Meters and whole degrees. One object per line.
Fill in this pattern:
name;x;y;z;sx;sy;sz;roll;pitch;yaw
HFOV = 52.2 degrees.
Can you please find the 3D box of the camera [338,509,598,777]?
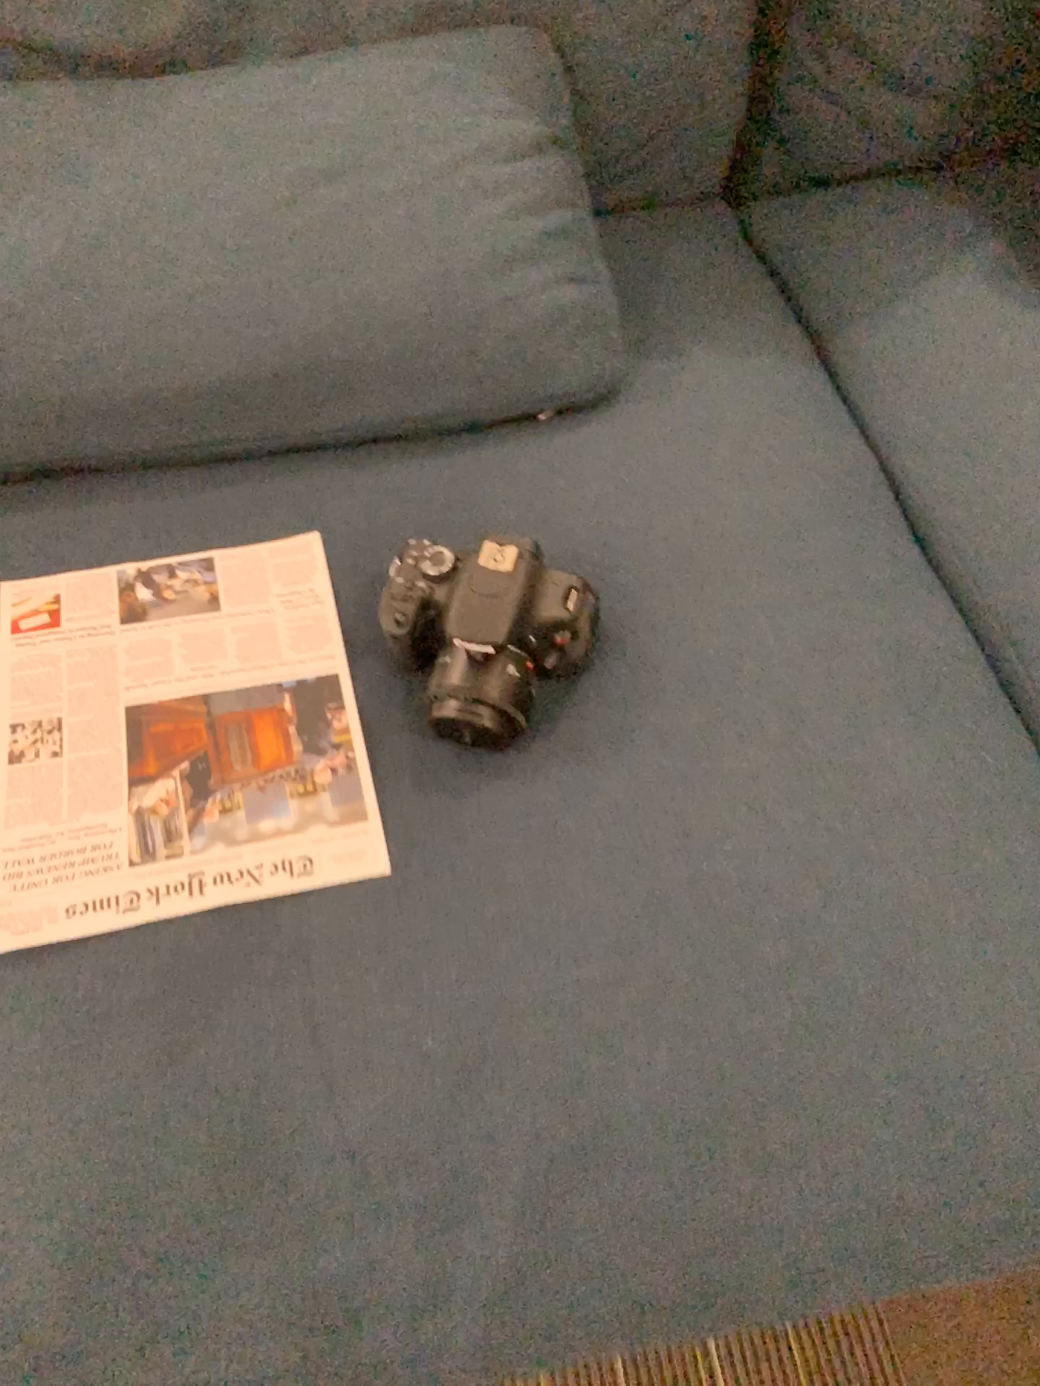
camera;-0.026;-0.034;0.679;0.127;0.090;0.122;11;55;12
